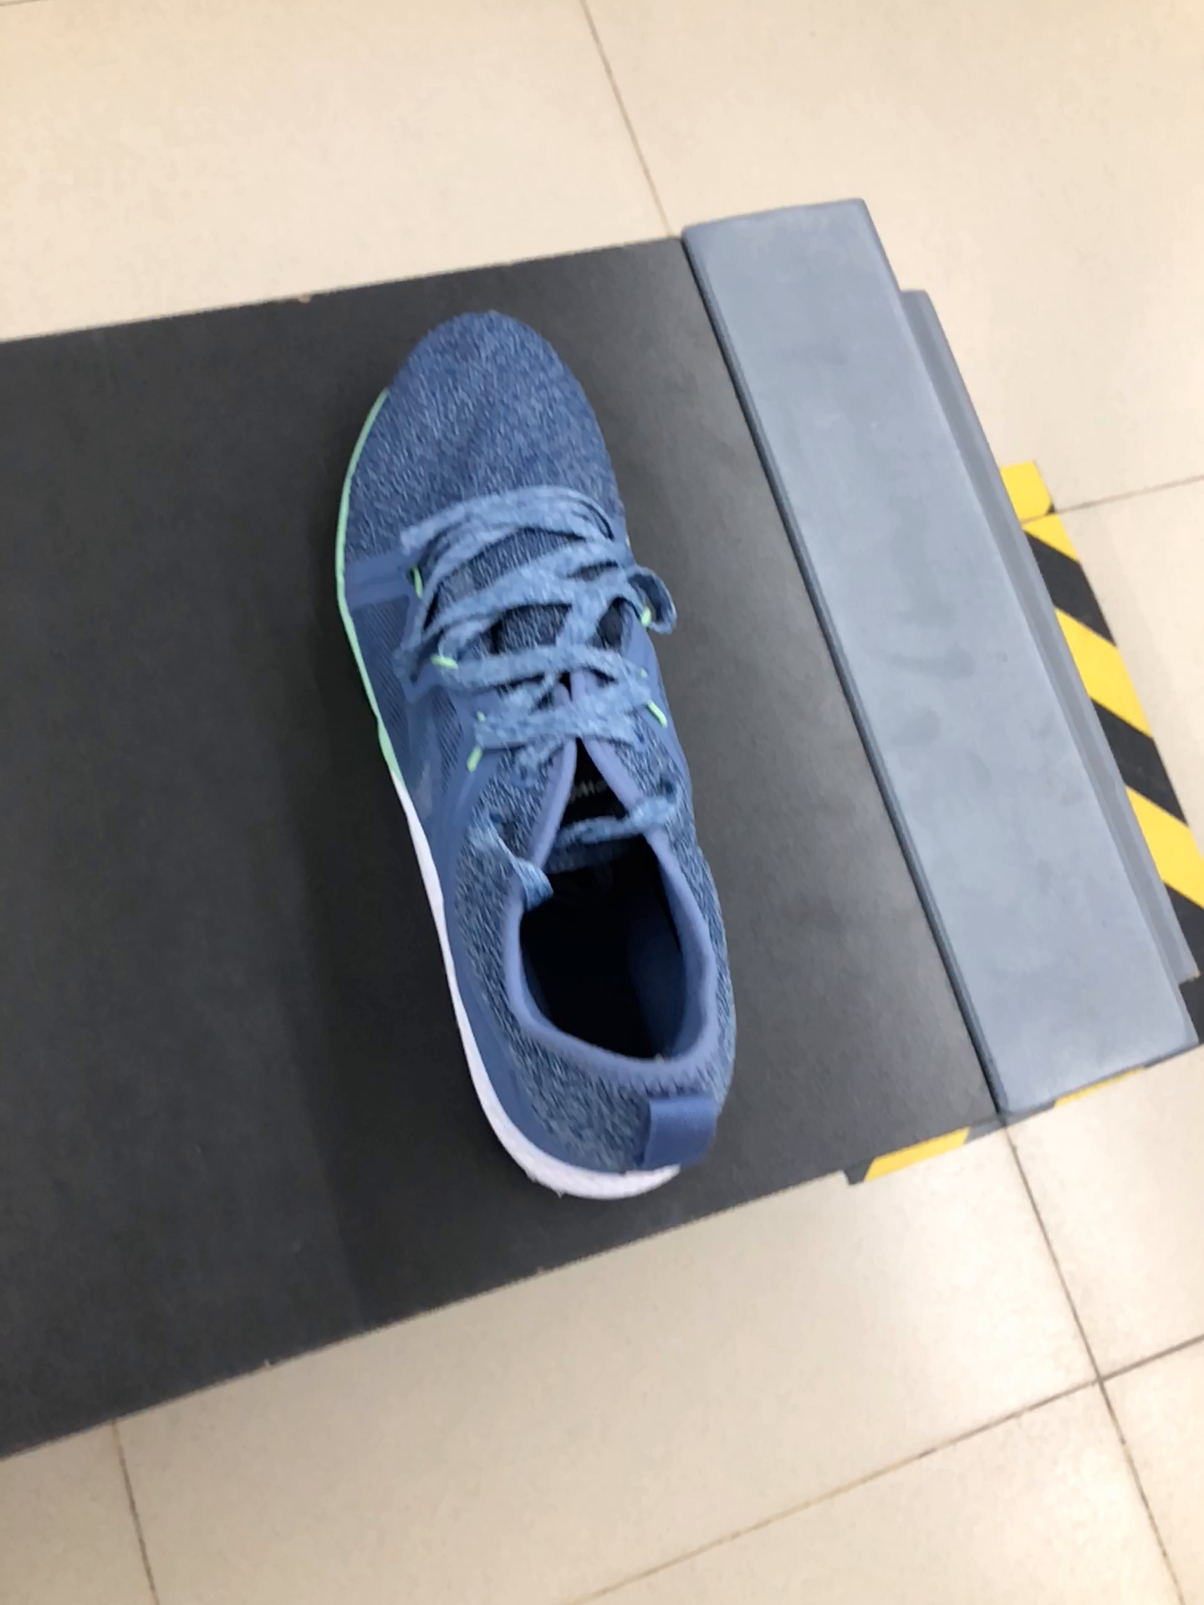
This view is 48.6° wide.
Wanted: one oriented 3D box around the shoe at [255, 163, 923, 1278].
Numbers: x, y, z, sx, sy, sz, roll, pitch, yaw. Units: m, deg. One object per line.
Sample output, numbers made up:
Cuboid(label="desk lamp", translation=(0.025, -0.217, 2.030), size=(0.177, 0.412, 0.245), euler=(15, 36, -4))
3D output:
Cuboid(label="shoe", translation=(-0.014, -0.028, 0.373), size=(0.100, 0.080, 0.280), euler=(-13, 77, -13))
